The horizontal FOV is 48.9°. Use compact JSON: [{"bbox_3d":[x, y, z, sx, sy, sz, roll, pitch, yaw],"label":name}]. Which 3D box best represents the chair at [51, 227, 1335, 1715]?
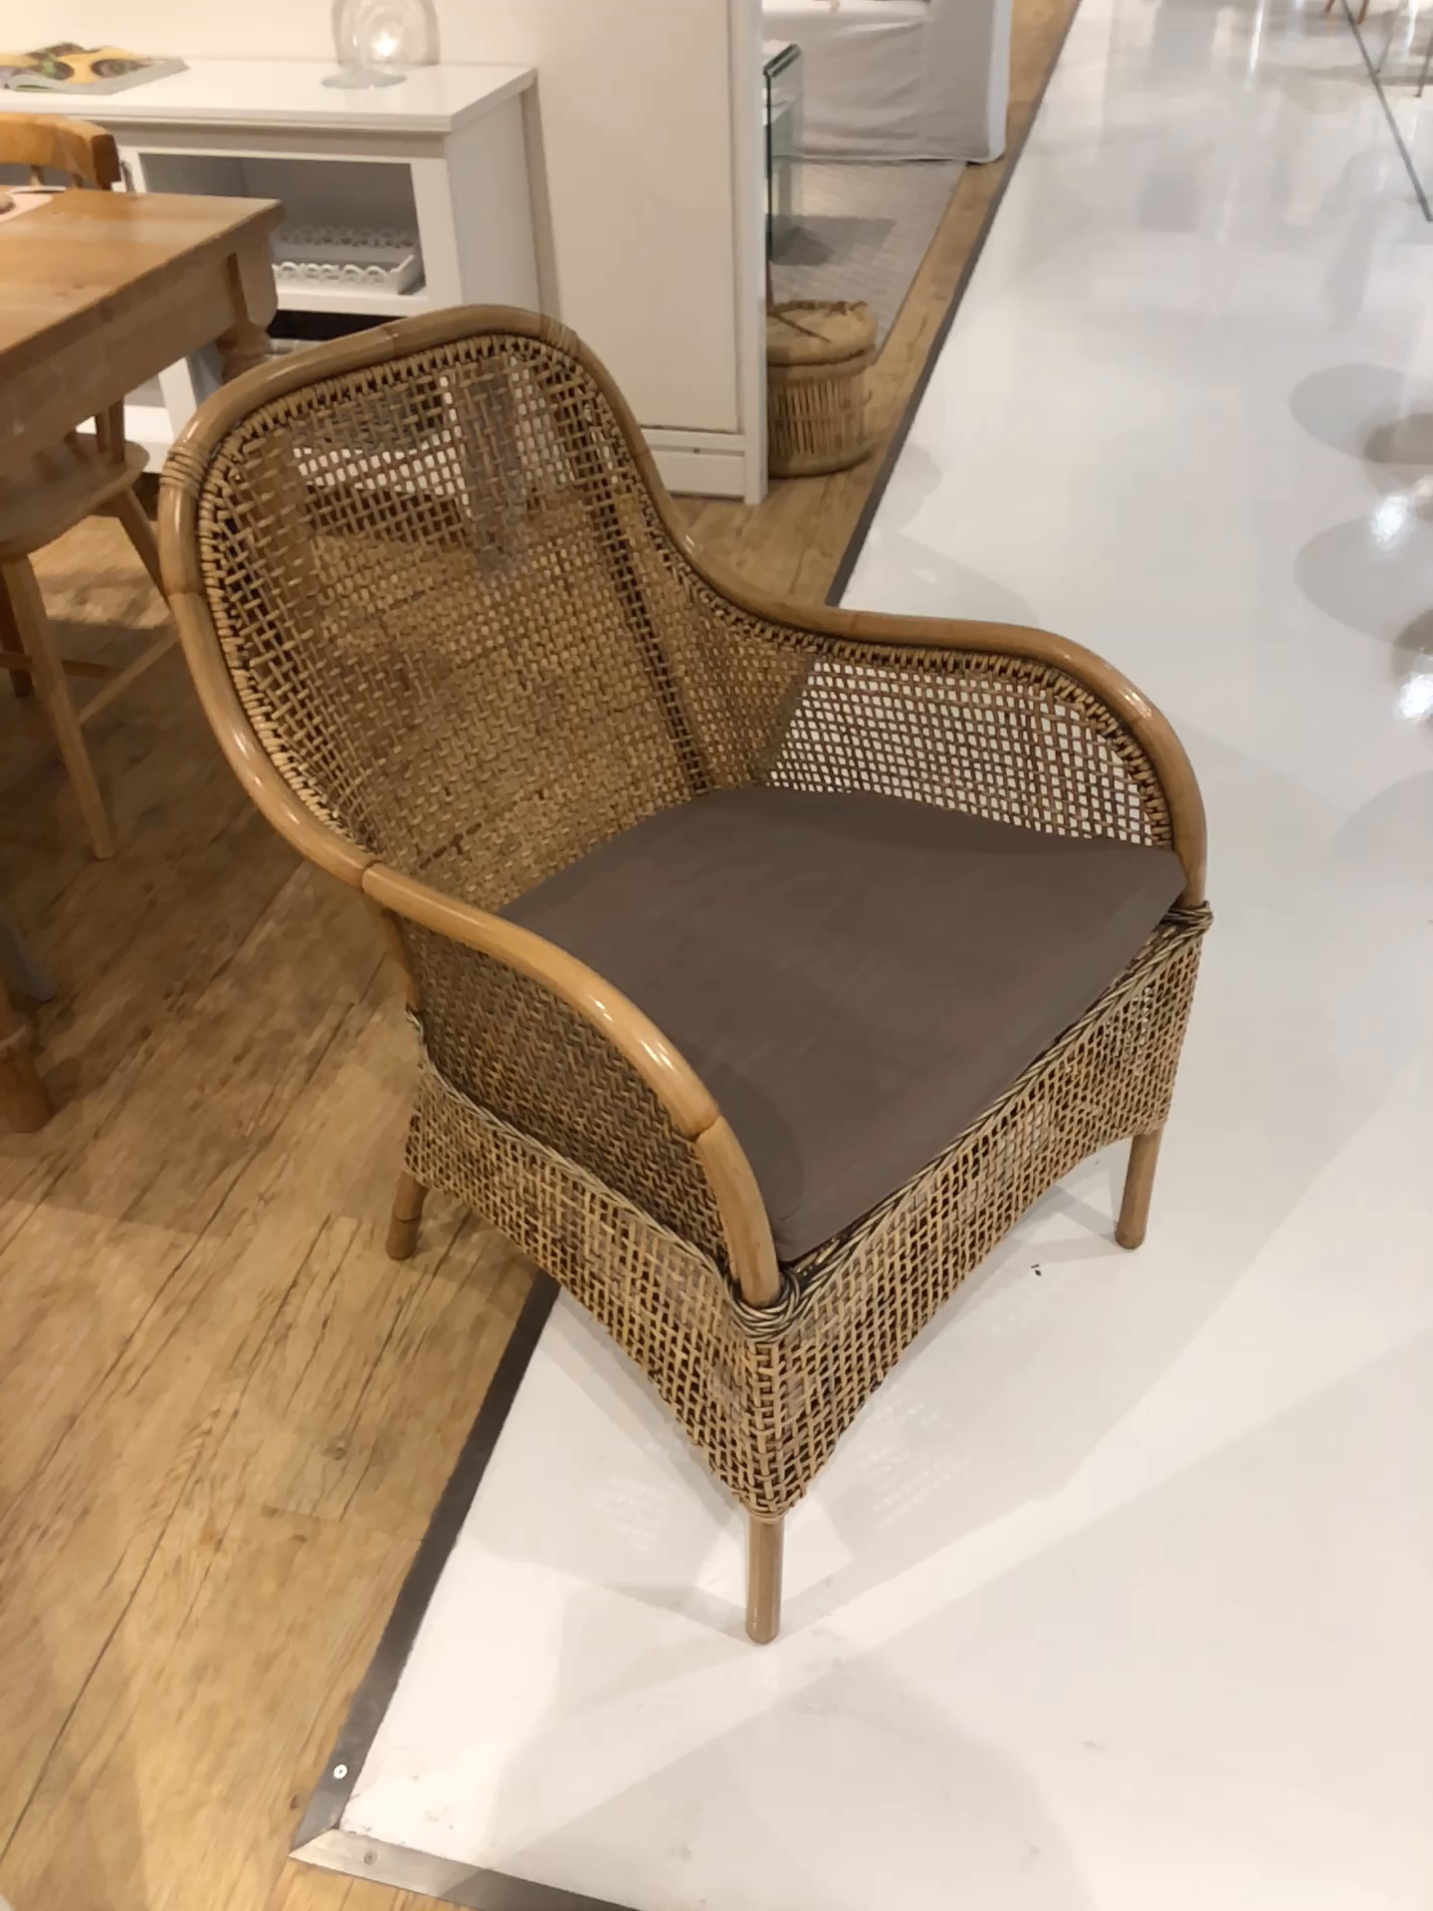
[{"bbox_3d":[0.001,-0.009,1.287,0.622,0.903,0.543,26,46,31],"label":"chair"}]
